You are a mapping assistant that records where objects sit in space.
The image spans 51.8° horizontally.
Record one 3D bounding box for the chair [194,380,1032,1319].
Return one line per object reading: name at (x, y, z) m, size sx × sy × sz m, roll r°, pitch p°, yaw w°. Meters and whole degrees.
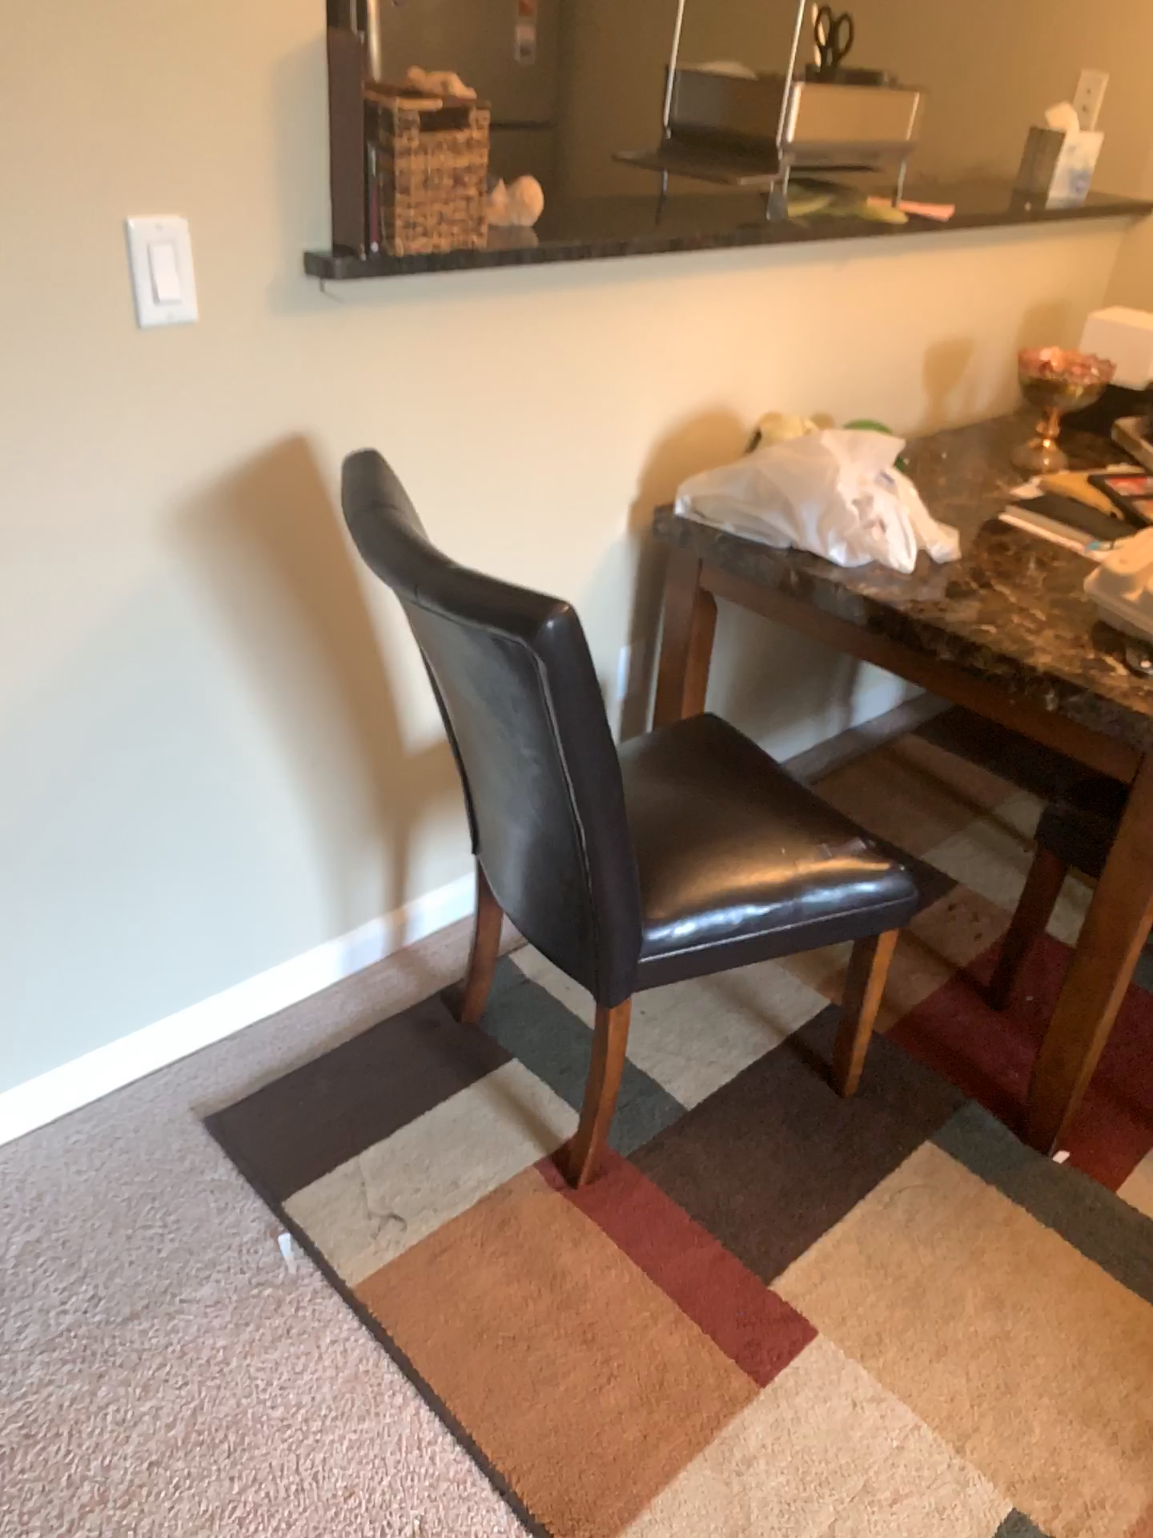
chair at (-0.018, 0.031, 1.752) m, size 0.731 × 0.924 × 0.814 m, roll -17°, pitch 38°, yaw -31°
